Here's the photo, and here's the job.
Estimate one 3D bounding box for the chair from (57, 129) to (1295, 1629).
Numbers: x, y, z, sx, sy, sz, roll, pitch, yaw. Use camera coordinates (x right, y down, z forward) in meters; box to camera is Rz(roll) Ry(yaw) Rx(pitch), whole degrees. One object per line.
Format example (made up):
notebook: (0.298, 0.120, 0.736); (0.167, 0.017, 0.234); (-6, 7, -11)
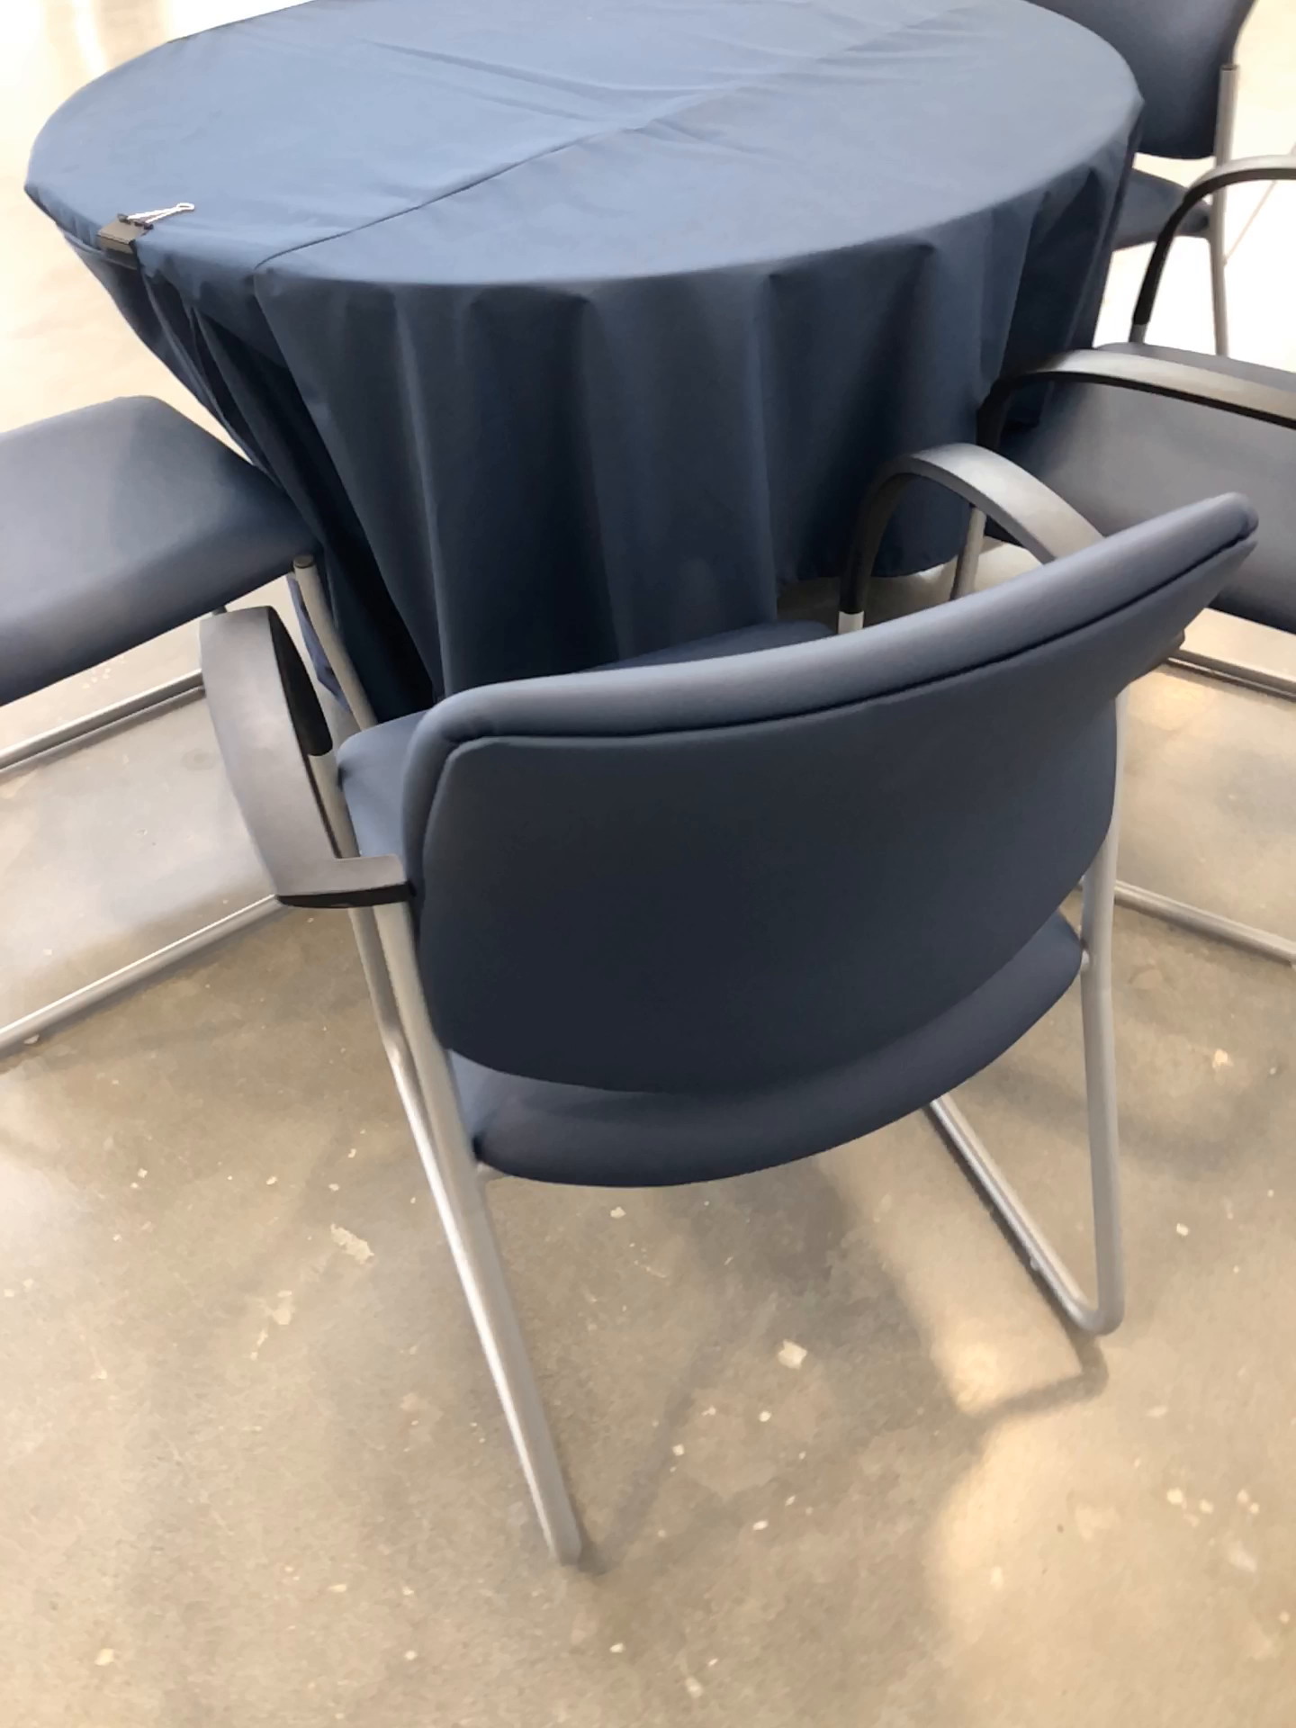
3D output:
chair: (0.027, -0.014, 1.096); (0.640, 0.765, 0.674); (-17, 45, -14)
